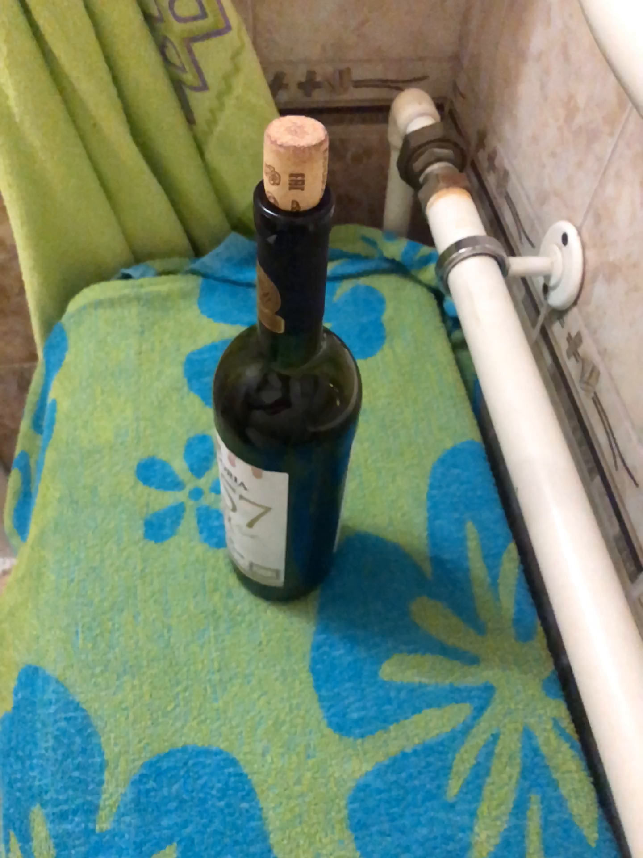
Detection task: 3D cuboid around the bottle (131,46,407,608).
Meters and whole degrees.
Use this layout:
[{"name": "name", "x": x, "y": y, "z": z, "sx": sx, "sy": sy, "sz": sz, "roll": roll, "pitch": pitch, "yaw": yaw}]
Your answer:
[{"name": "bottle", "x": -0.022, "y": -0.010, "z": 0.361, "sx": 0.080, "sy": 0.319, "sz": 0.080, "roll": 1, "pitch": 54, "yaw": -2}]
